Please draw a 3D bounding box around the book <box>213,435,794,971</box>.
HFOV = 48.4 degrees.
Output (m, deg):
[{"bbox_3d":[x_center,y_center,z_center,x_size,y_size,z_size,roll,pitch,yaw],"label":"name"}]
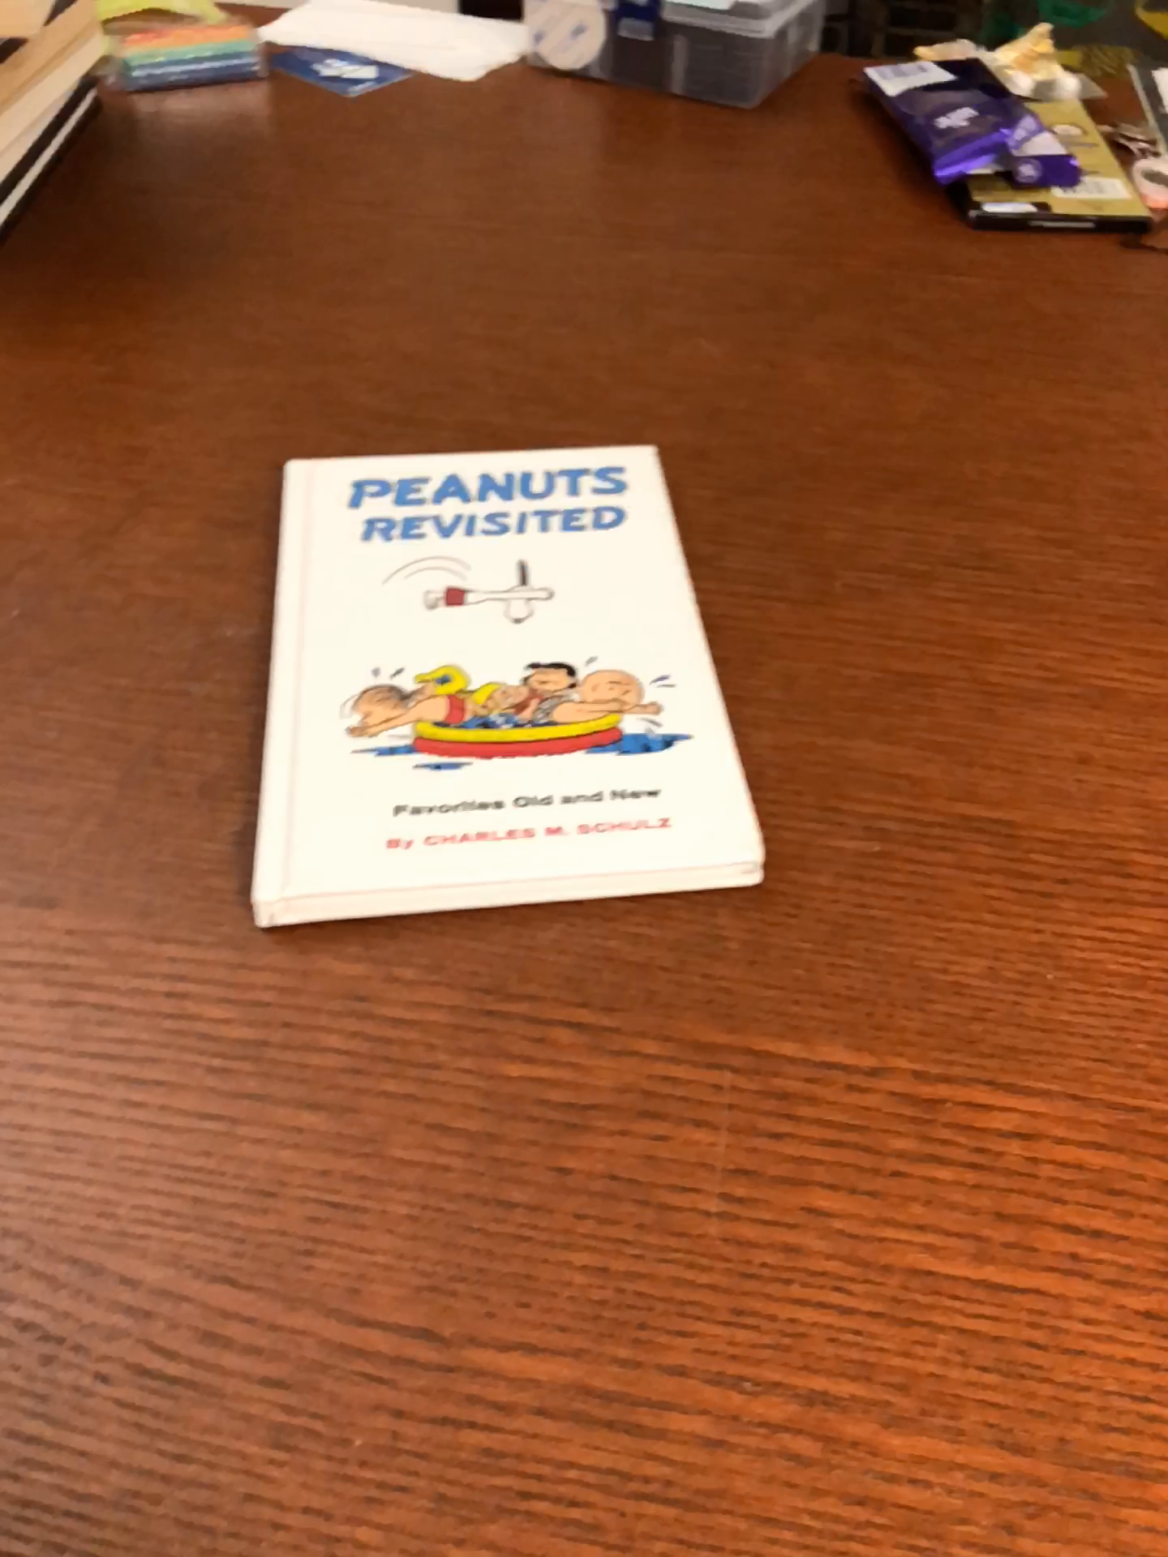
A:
[{"bbox_3d":[-0.032,-0.040,0.419,0.150,0.020,0.221,-4,46,-5],"label":"book"}]
